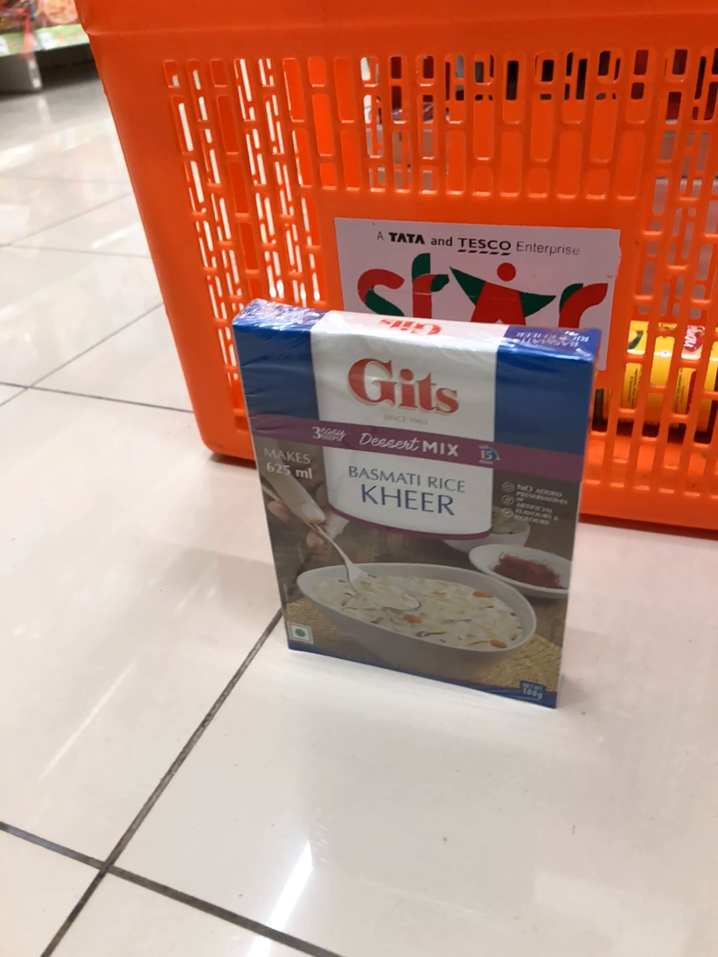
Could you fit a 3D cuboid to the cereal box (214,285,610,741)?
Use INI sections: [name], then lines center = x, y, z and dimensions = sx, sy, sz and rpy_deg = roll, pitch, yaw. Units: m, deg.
[cereal box]
center = 0.019, 0.016, 0.291
dimensions = 0.120, 0.159, 0.030
rpy_deg = 9, 34, 19
